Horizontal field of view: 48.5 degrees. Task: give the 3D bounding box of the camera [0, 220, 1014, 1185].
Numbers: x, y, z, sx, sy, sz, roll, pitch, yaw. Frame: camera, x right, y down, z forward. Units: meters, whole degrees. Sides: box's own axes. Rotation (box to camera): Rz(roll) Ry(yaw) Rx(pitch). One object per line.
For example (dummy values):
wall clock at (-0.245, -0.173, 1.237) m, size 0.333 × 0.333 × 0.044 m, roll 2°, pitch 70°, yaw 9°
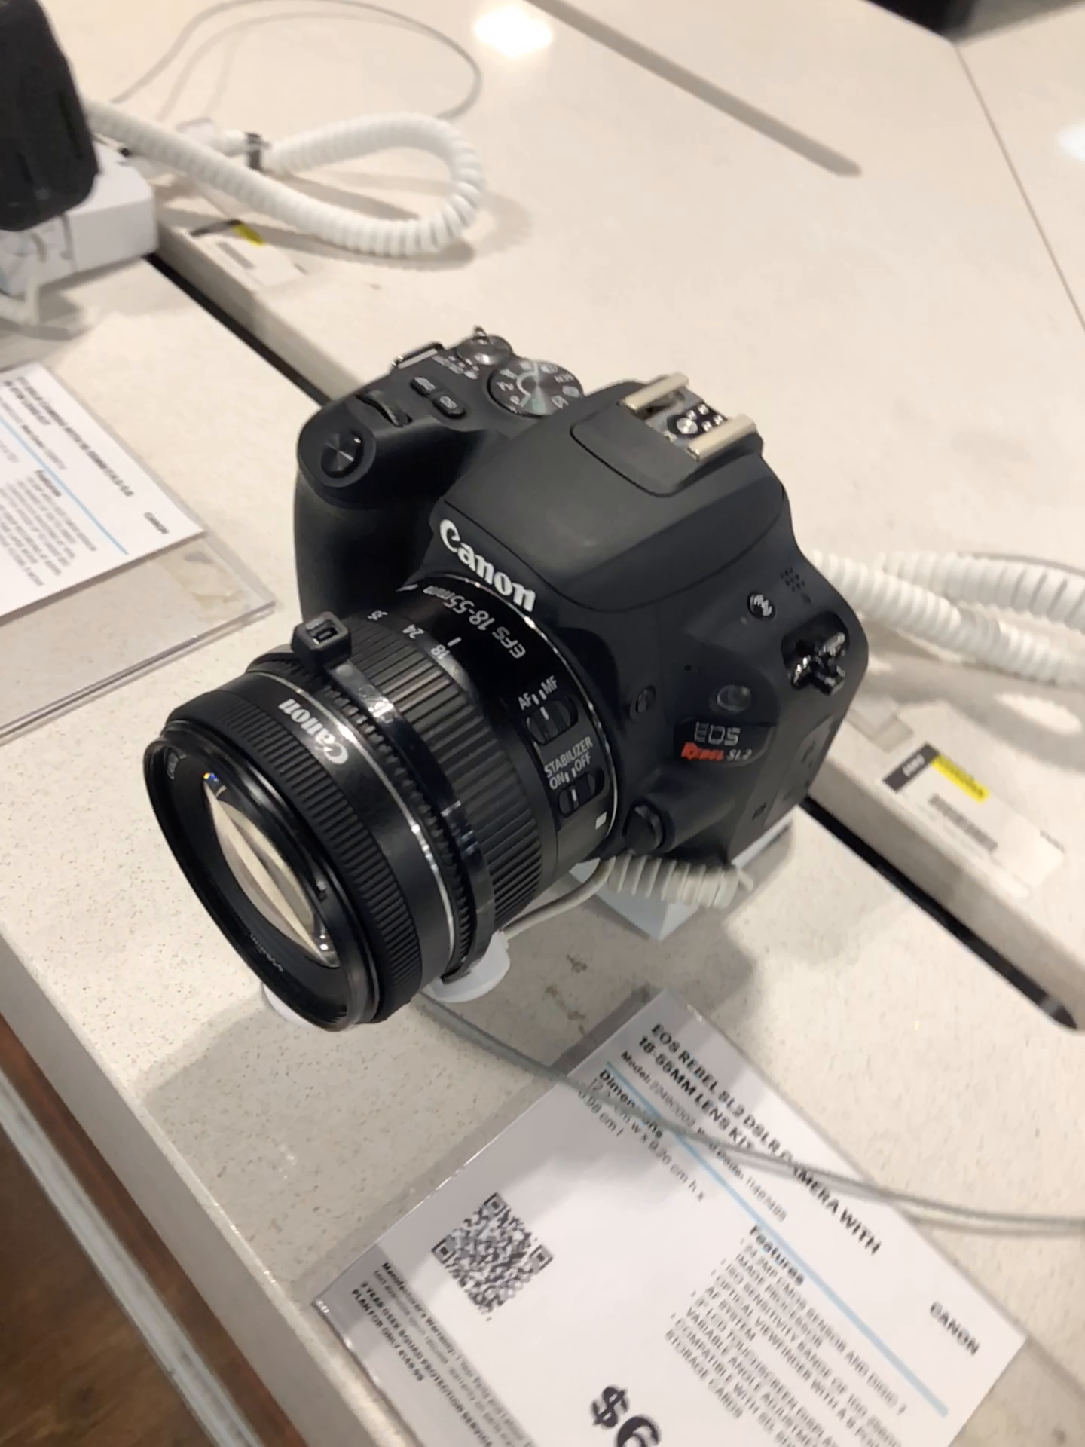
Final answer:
camera at (-0.013, -0.019, 0.242) m, size 0.150 × 0.070 × 0.130 m, roll -34°, pitch 62°, yaw -30°
